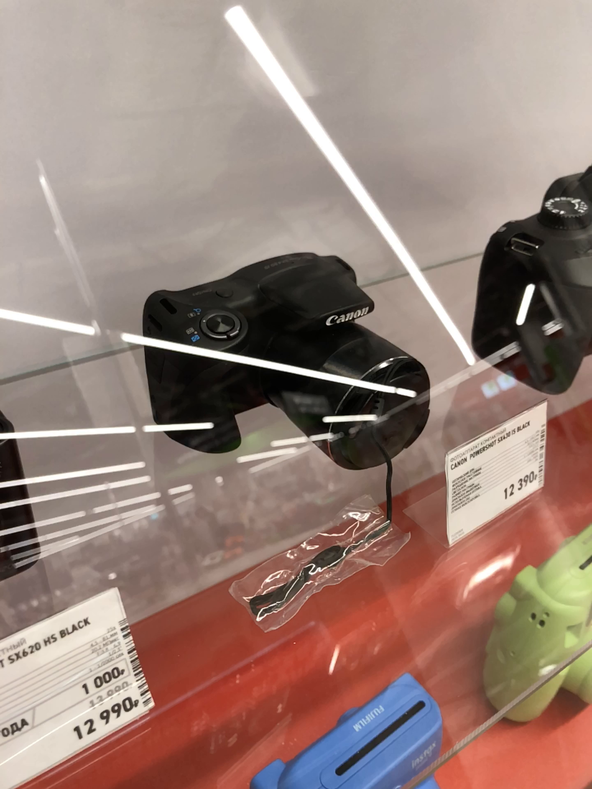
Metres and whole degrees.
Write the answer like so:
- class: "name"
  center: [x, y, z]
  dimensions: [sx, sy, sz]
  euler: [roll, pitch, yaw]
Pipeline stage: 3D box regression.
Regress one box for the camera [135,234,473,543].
- class: "camera"
  center: [0.001, -0.011, 0.298]
  dimensions: [0.113, 0.080, 0.086]
  euler: [-19, 41, -30]
